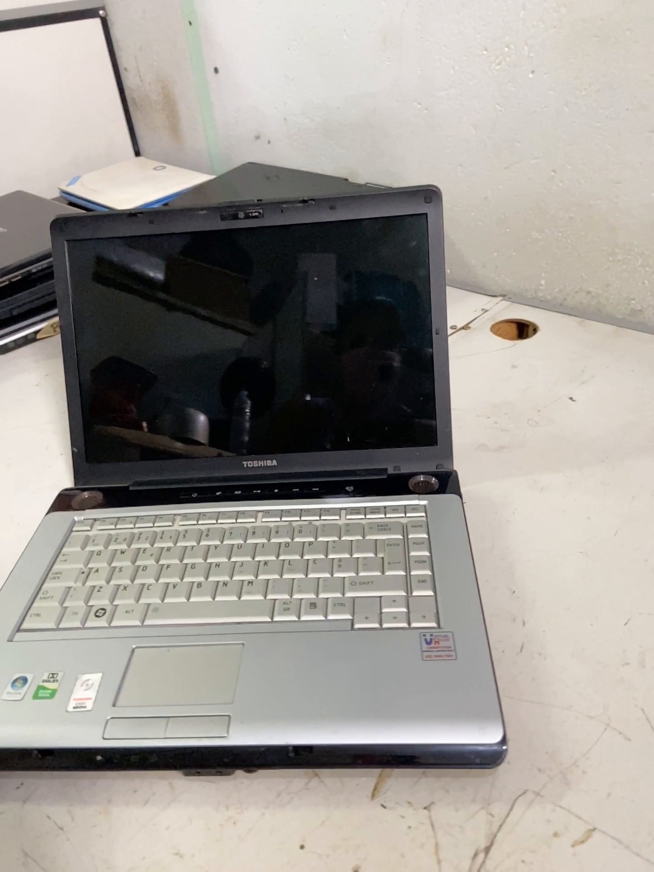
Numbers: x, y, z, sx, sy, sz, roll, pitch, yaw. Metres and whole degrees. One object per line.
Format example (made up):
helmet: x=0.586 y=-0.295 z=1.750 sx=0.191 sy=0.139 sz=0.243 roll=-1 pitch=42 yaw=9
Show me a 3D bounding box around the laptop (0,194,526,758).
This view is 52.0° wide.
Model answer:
laptop: x=-0.080 y=-0.007 z=0.494 sx=0.350 sy=0.200 sz=0.395 roll=-3 pitch=35 yaw=5
